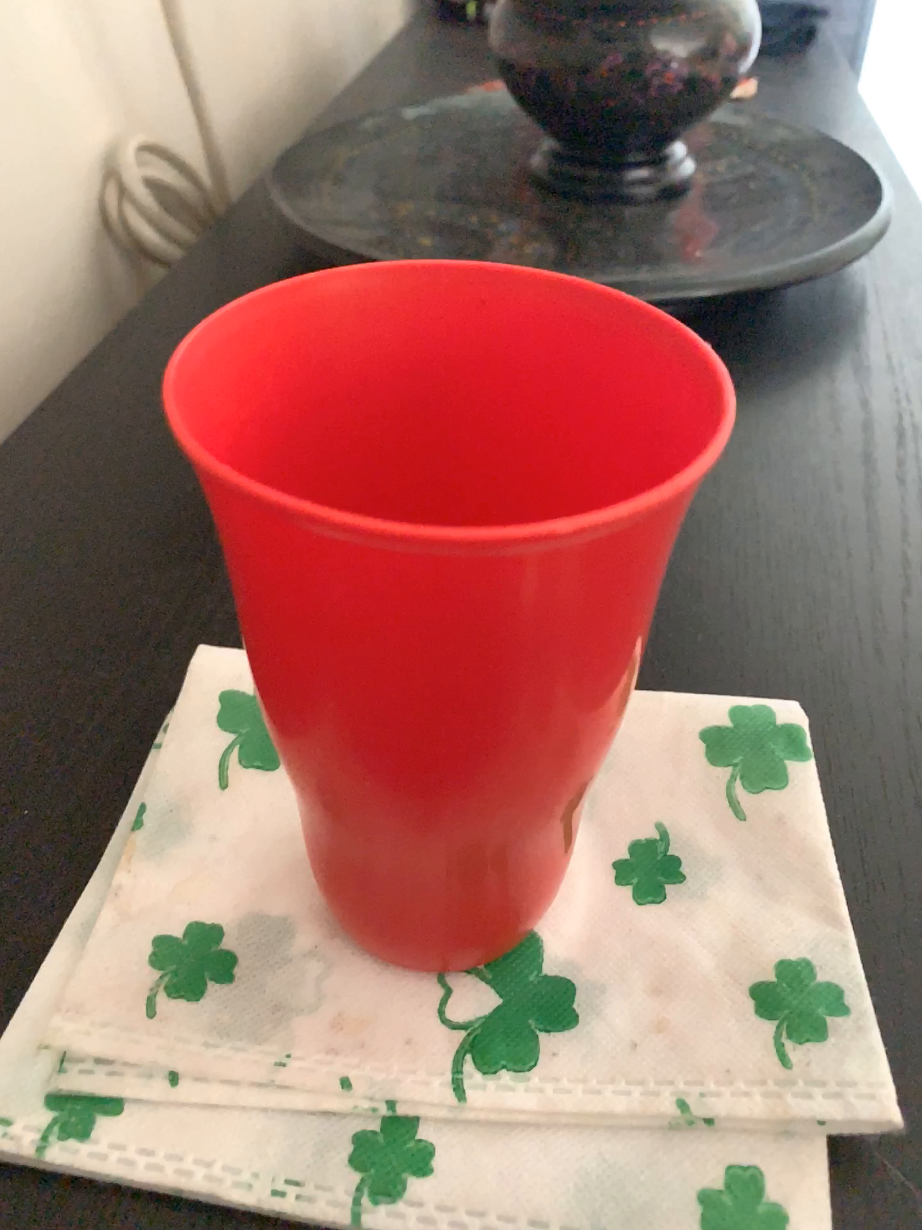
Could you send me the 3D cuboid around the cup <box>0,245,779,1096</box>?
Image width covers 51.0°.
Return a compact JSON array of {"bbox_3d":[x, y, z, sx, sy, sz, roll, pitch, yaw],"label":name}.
[{"bbox_3d":[-0.005,0.004,0.157,0.082,0.091,0.080,0,39,0],"label":"cup"}]
